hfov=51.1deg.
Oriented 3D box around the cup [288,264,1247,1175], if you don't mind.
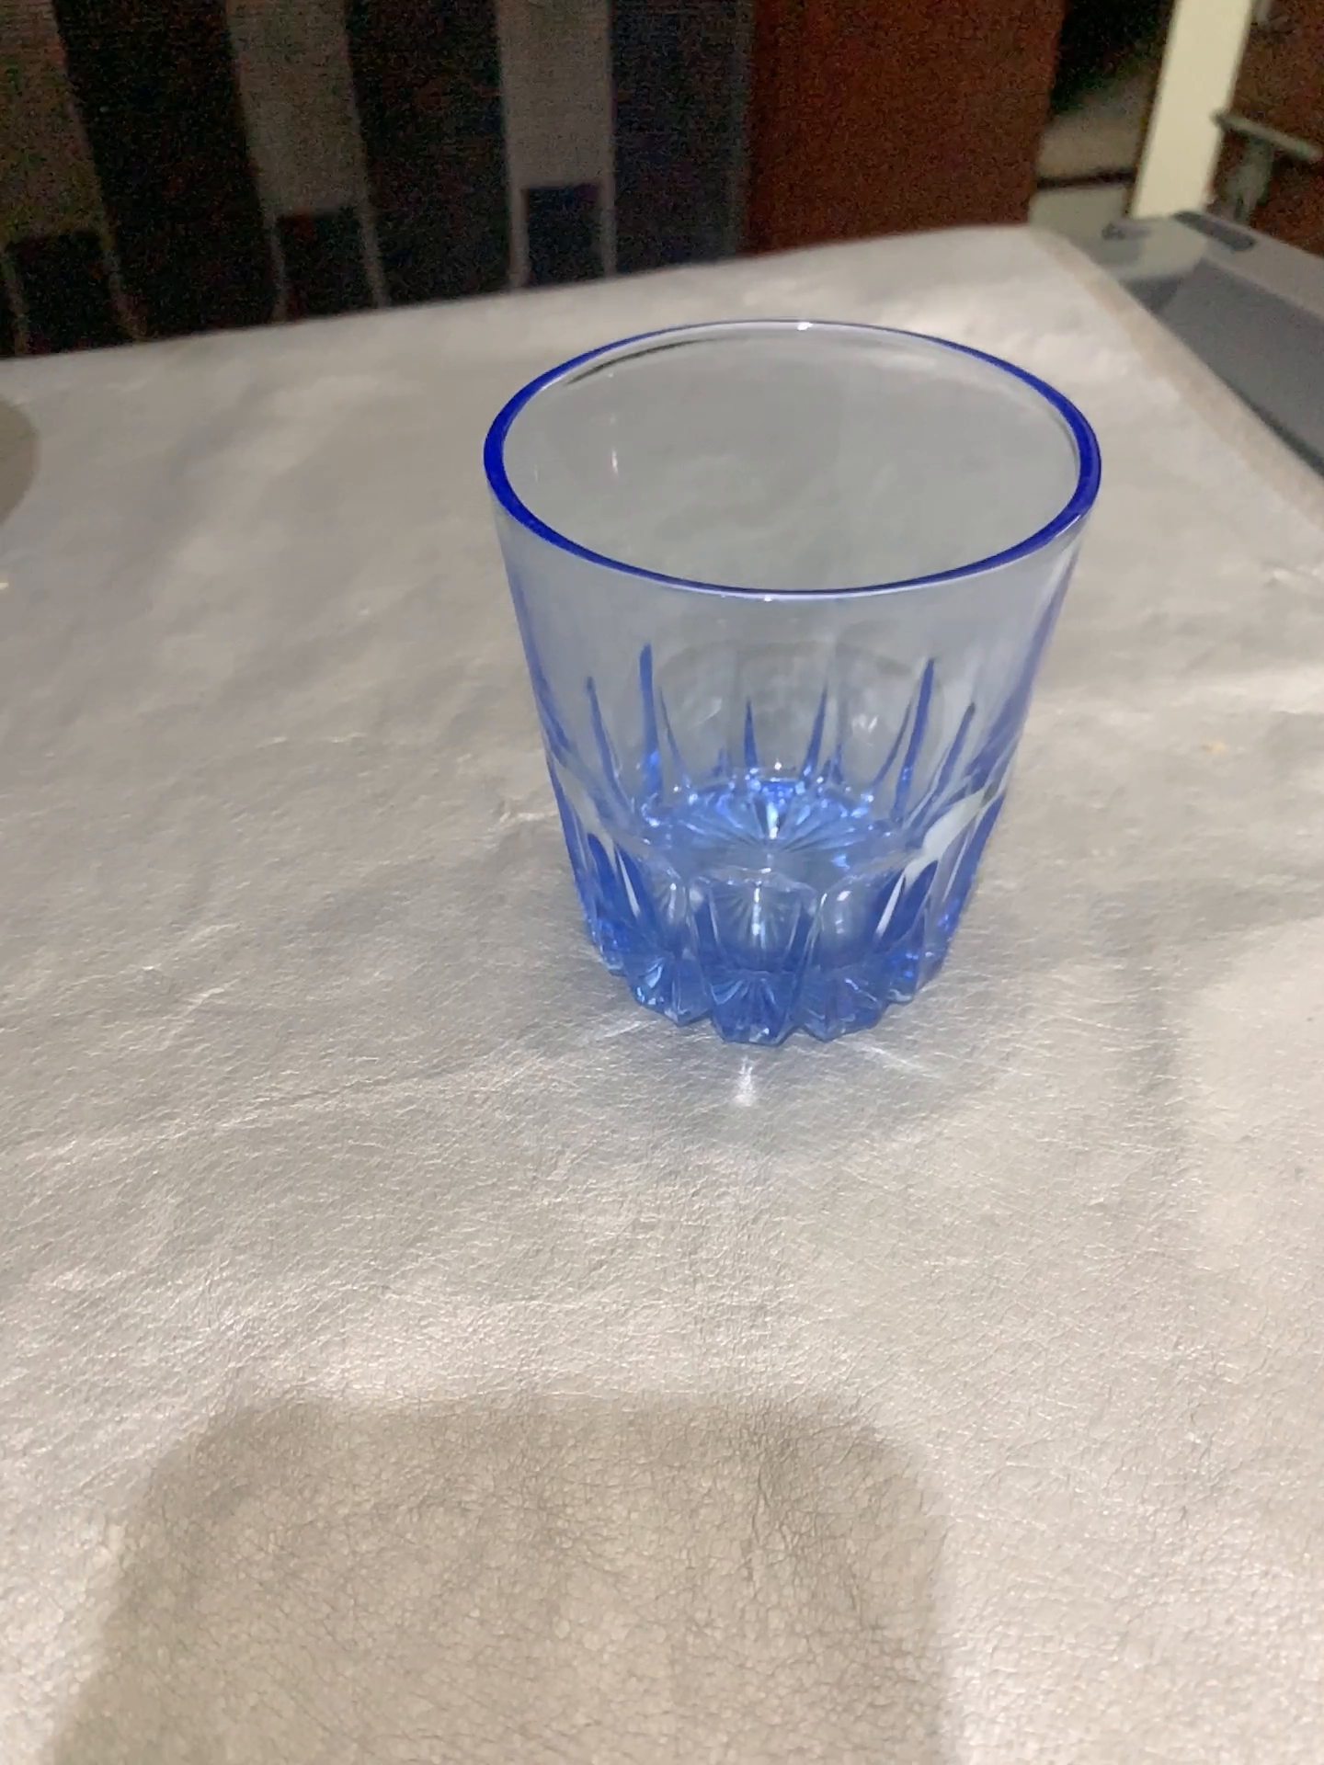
[{"bbox_3d":[0.018,-0.030,0.195,0.090,0.070,0.090,0,42,0],"label":"cup"}]
